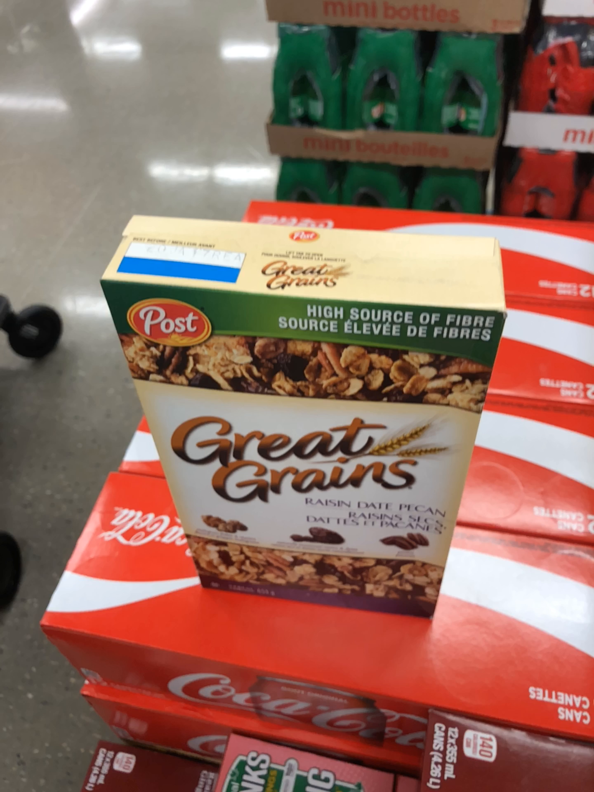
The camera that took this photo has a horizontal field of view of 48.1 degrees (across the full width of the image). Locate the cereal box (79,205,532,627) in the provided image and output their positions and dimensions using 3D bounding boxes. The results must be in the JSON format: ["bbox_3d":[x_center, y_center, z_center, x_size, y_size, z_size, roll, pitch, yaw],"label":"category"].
[{"bbox_3d":[0.012,0.033,0.362,0.170,0.269,0.050,6,49,10],"label":"cereal box"}]
